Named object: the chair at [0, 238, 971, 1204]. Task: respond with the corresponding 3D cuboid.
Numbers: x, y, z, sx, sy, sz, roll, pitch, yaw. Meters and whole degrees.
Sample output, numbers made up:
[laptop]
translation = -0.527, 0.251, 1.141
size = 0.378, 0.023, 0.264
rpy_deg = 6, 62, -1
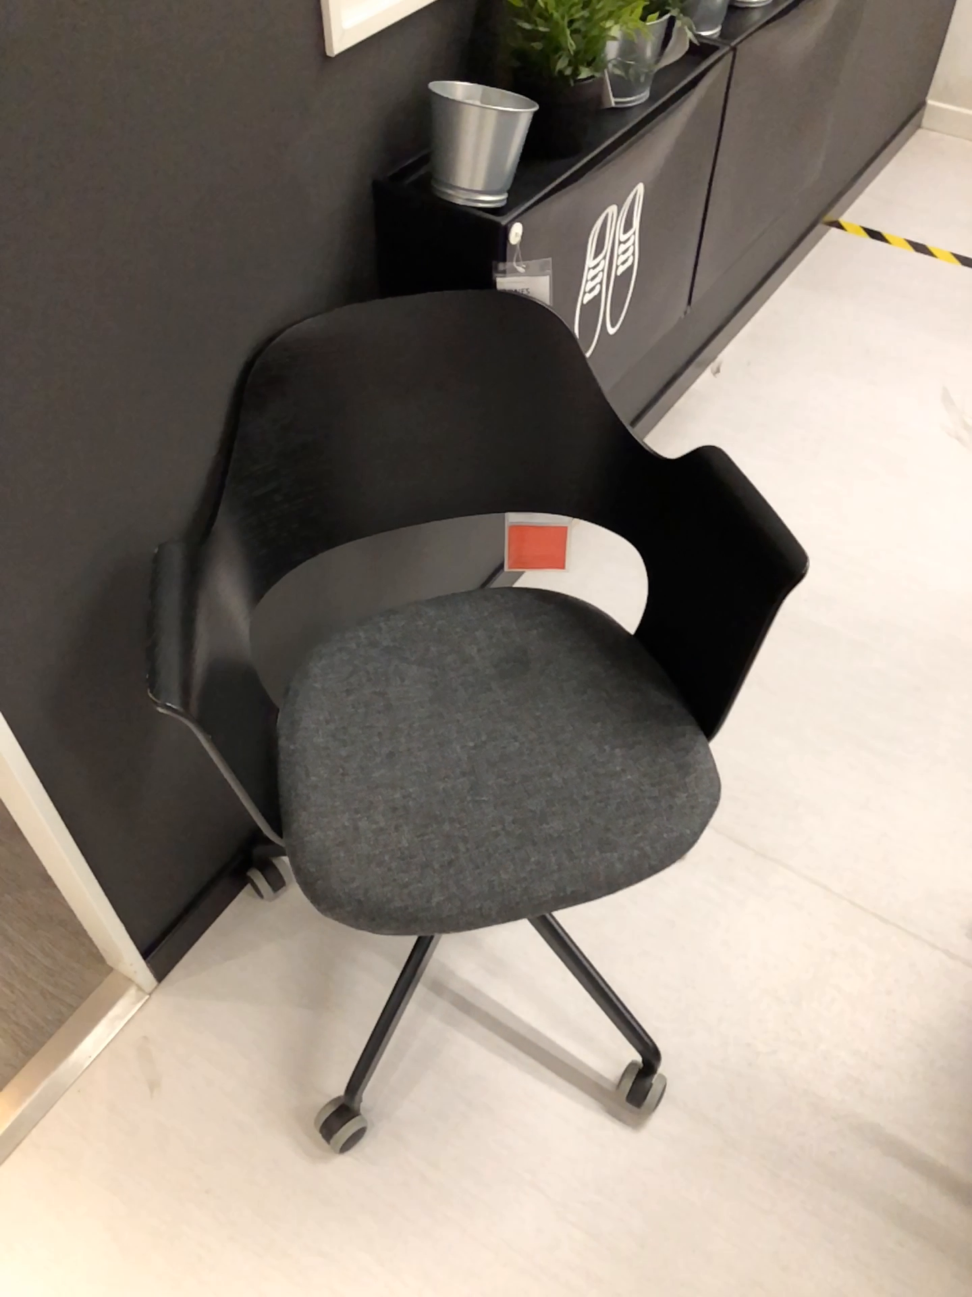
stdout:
[chair]
translation = 0.003, 0.108, 1.087
size = 0.660, 0.755, 0.563
rpy_deg = -7, 50, -6
